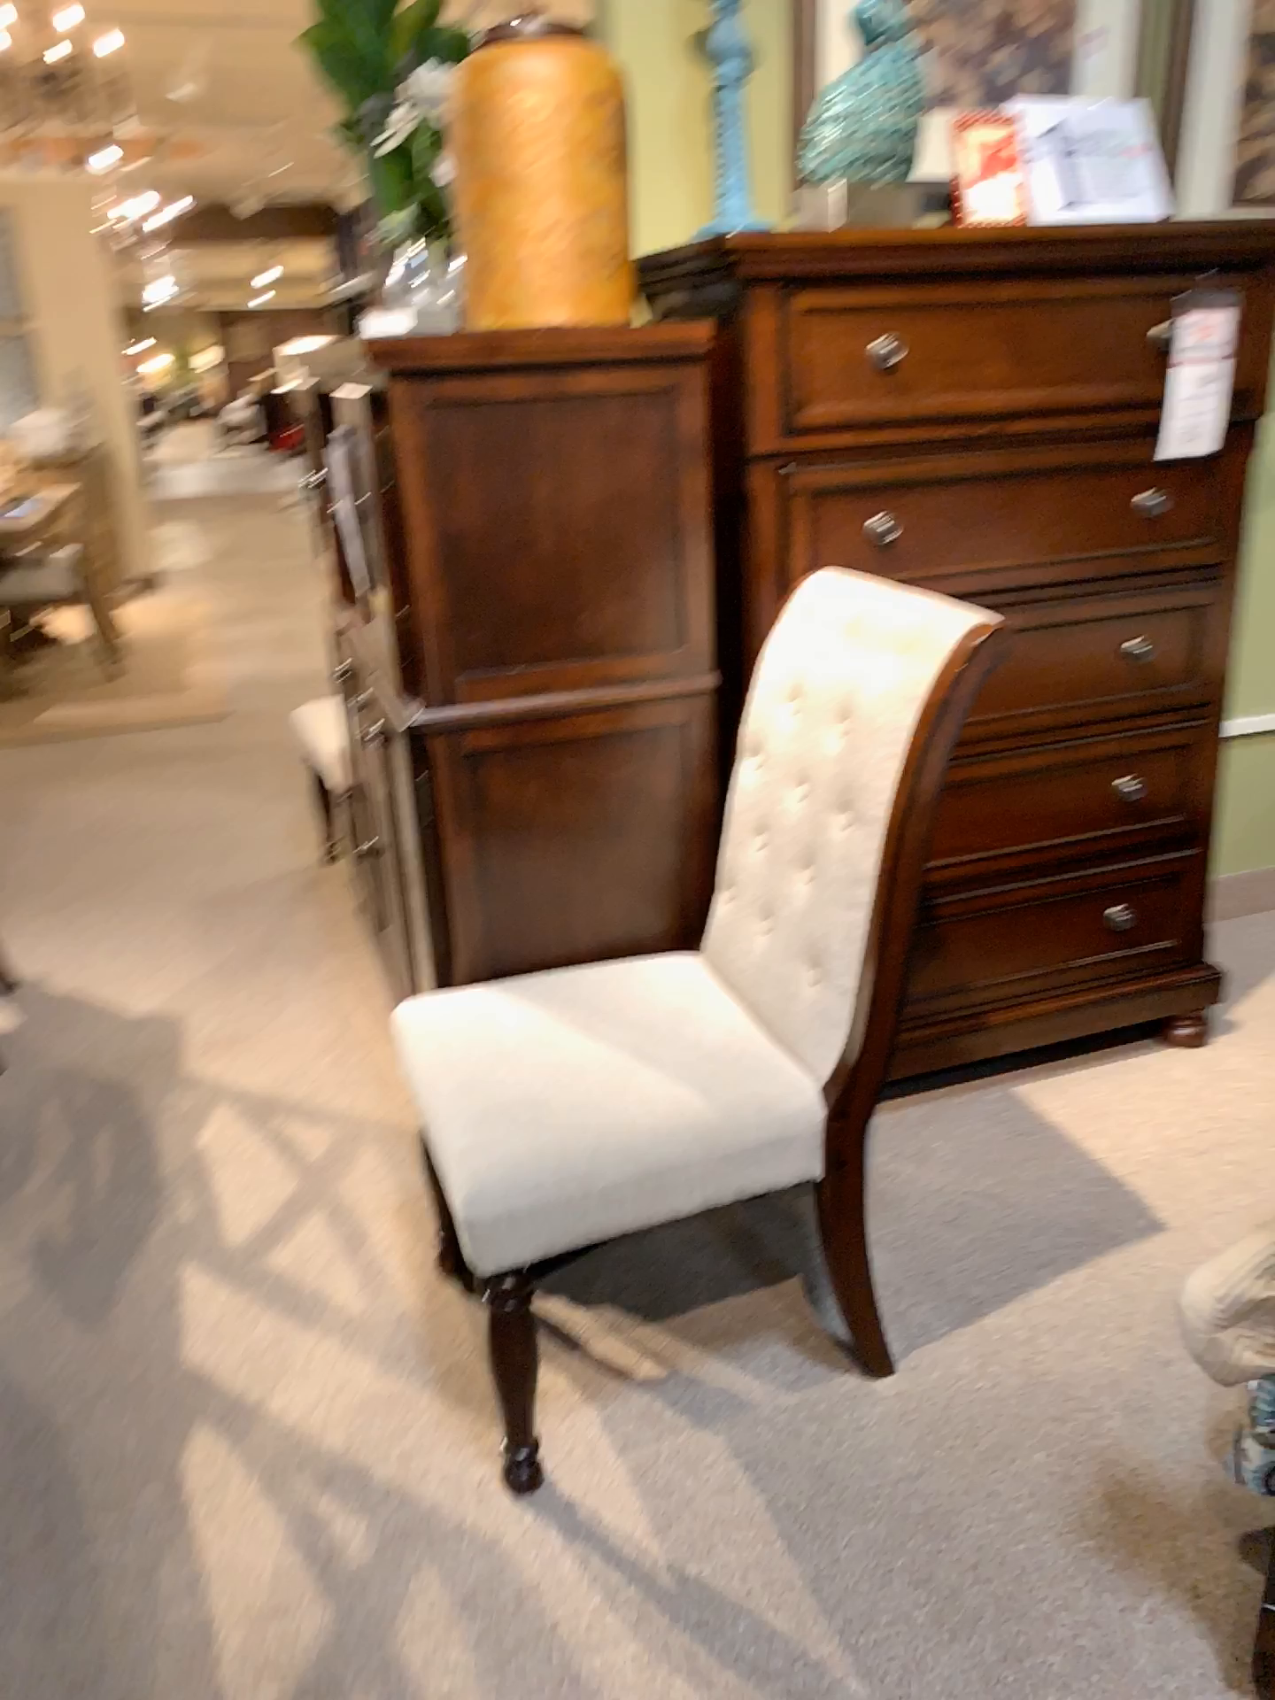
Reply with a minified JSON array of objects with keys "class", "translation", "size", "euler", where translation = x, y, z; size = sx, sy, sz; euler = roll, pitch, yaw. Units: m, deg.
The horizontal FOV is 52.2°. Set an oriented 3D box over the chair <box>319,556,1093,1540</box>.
[{"class":"chair","translation":[0.051,0.176,1.654],"size":[0.717,0.950,0.586],"euler":[-9,22,-18]}]
